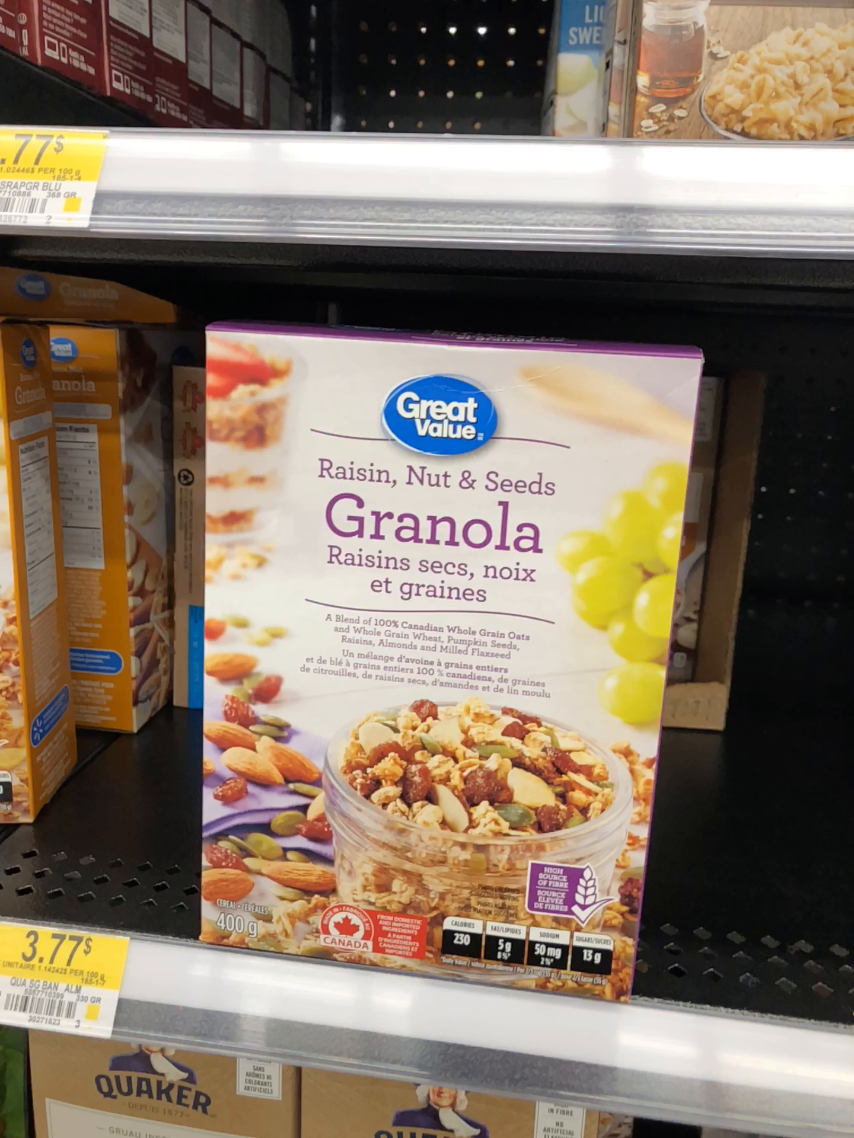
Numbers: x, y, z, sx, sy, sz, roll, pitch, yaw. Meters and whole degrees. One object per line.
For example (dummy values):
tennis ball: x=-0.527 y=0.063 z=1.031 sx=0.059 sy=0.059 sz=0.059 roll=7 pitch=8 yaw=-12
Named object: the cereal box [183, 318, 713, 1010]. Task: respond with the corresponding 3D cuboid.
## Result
cereal box: x=0.003 y=0.029 z=0.335 sx=0.160 sy=0.219 sz=0.060 roll=4 pitch=12 yaw=8
